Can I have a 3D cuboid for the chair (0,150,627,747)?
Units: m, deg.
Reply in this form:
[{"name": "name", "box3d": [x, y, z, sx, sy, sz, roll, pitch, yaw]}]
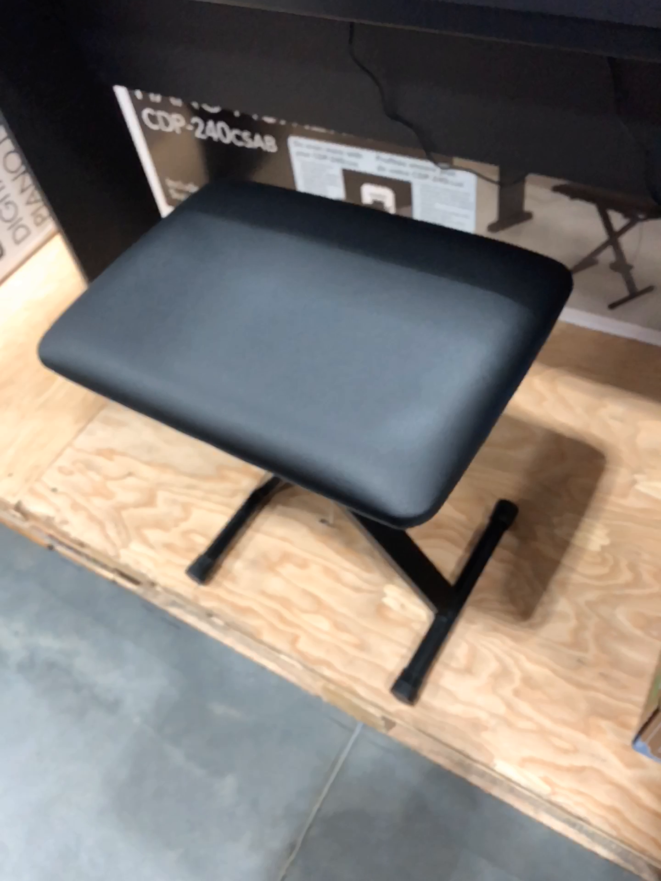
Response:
[{"name": "chair", "box3d": [-0.040, -0.026, 0.760, 0.511, 0.279, 0.370, 23, 60, 25]}]
